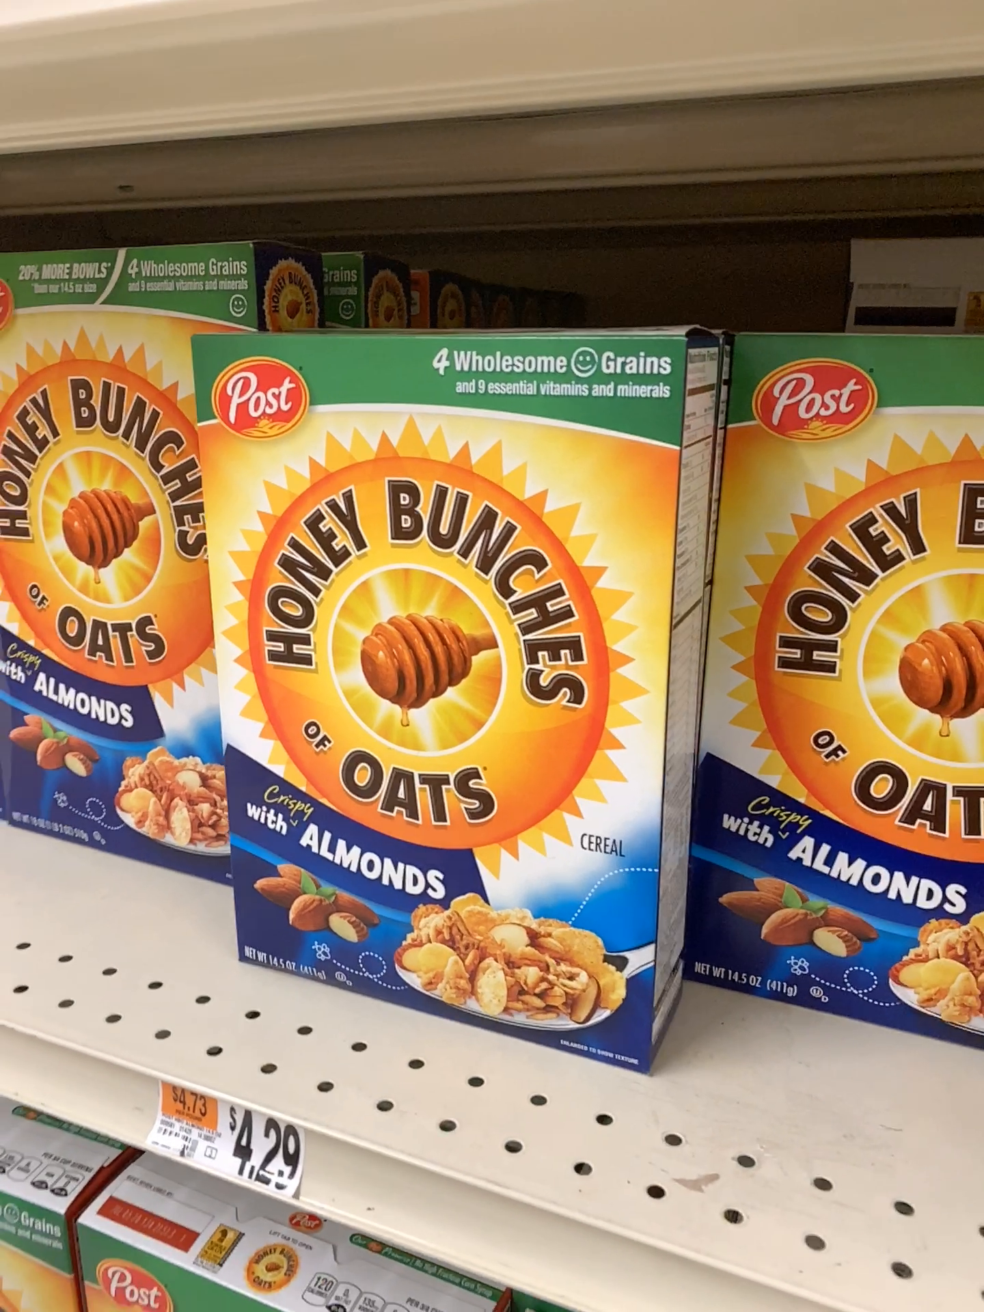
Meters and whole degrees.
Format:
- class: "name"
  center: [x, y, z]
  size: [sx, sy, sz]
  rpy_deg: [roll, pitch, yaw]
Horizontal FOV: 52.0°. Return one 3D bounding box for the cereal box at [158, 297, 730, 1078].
- class: "cereal box"
  center: [-0.020, 0.006, 0.405]
  size: [0.200, 0.279, 0.060]
  rpy_deg: [7, 19, 23]
